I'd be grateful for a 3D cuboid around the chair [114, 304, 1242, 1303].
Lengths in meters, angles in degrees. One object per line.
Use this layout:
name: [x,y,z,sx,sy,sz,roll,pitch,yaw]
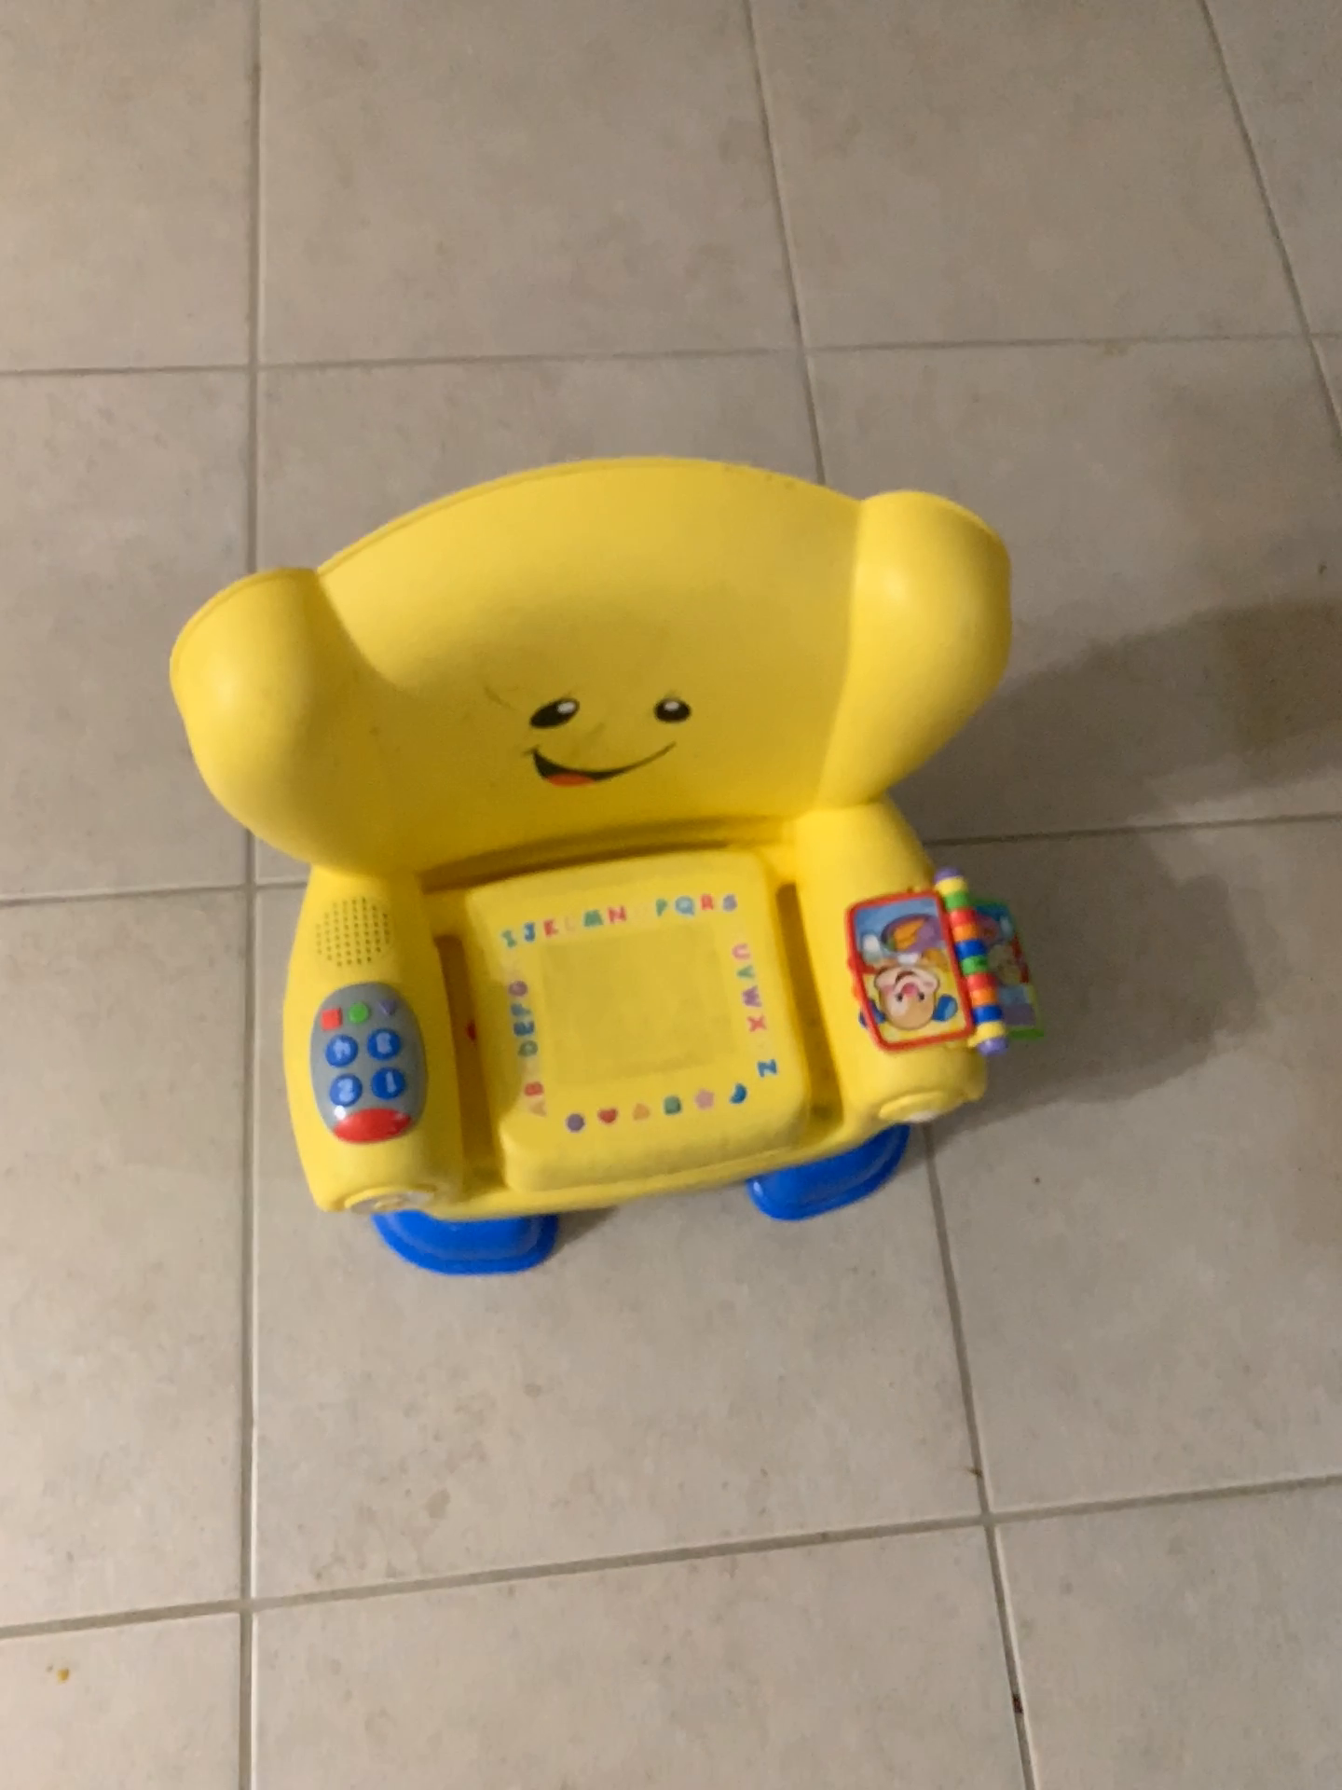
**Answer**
chair: [-0.028,-0.002,0.809,0.420,0.488,0.372,-7,70,-7]
